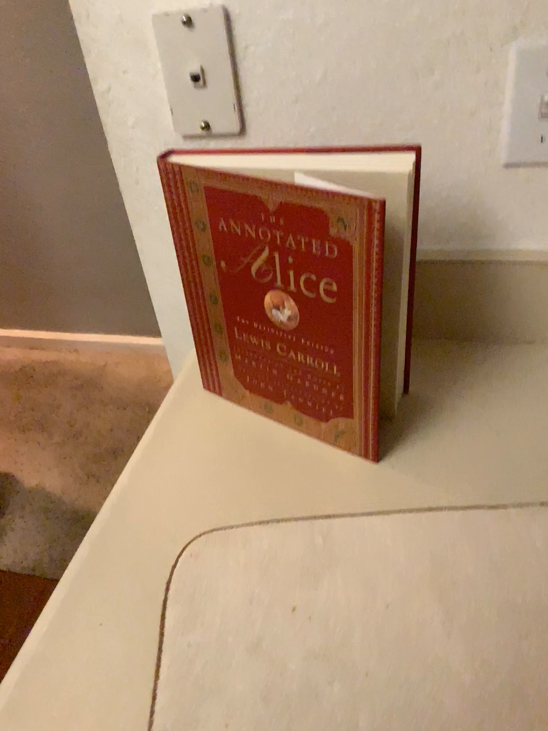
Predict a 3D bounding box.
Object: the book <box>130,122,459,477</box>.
[{"bbox_3d":[0.030,-0.071,0.583,0.230,0.260,0.150,16,43,29],"label":"book"}]
